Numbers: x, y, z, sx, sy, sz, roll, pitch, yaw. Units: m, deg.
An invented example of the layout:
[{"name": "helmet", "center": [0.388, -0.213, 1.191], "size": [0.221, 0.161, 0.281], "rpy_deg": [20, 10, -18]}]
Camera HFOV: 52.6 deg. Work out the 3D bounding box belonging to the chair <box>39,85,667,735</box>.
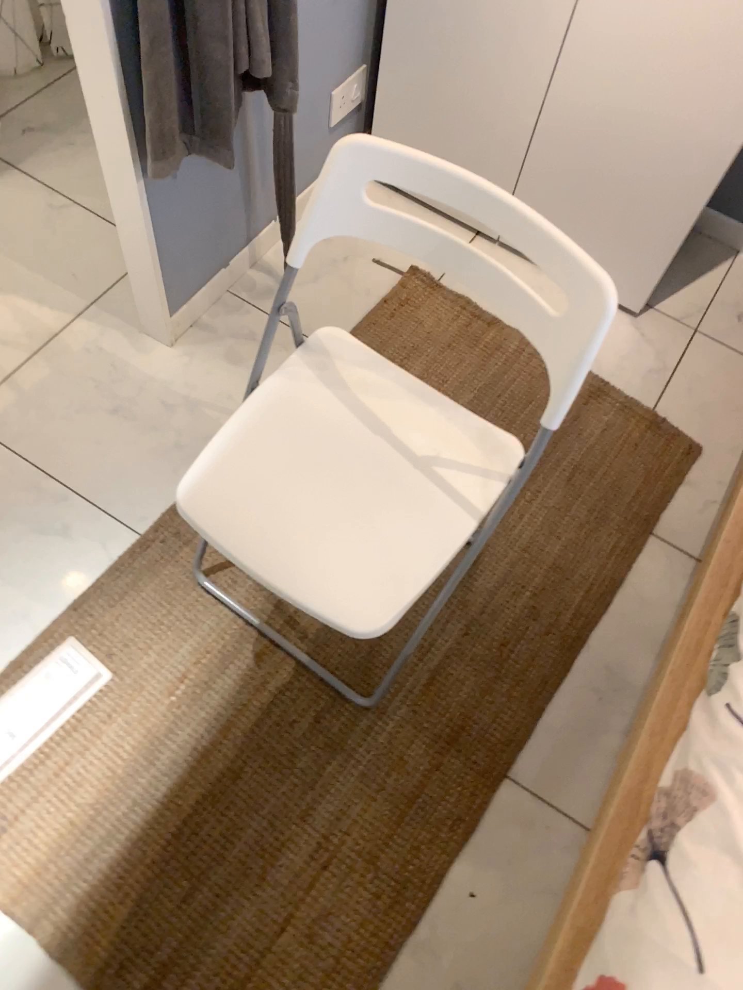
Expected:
[{"name": "chair", "center": [-0.032, -0.052, 1.027], "size": [0.450, 0.659, 0.431], "rpy_deg": [35, 64, 12]}]
